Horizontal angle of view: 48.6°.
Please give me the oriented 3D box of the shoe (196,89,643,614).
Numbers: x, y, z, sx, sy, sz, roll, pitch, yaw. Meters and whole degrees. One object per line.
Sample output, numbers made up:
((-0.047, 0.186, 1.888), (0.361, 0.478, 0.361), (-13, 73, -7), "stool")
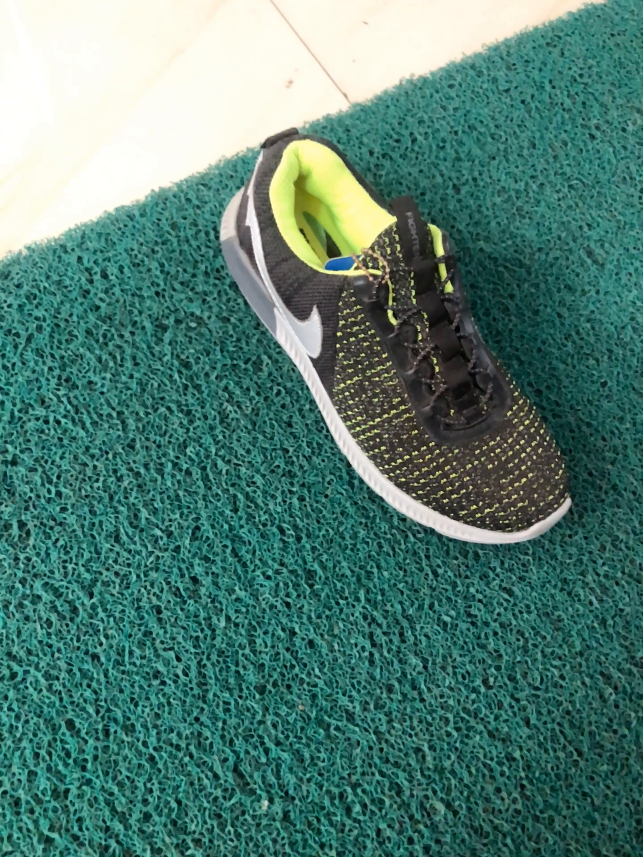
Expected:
((0.050, -0.045, 0.405), (0.110, 0.090, 0.270), (-32, 77, -18), "shoe")
